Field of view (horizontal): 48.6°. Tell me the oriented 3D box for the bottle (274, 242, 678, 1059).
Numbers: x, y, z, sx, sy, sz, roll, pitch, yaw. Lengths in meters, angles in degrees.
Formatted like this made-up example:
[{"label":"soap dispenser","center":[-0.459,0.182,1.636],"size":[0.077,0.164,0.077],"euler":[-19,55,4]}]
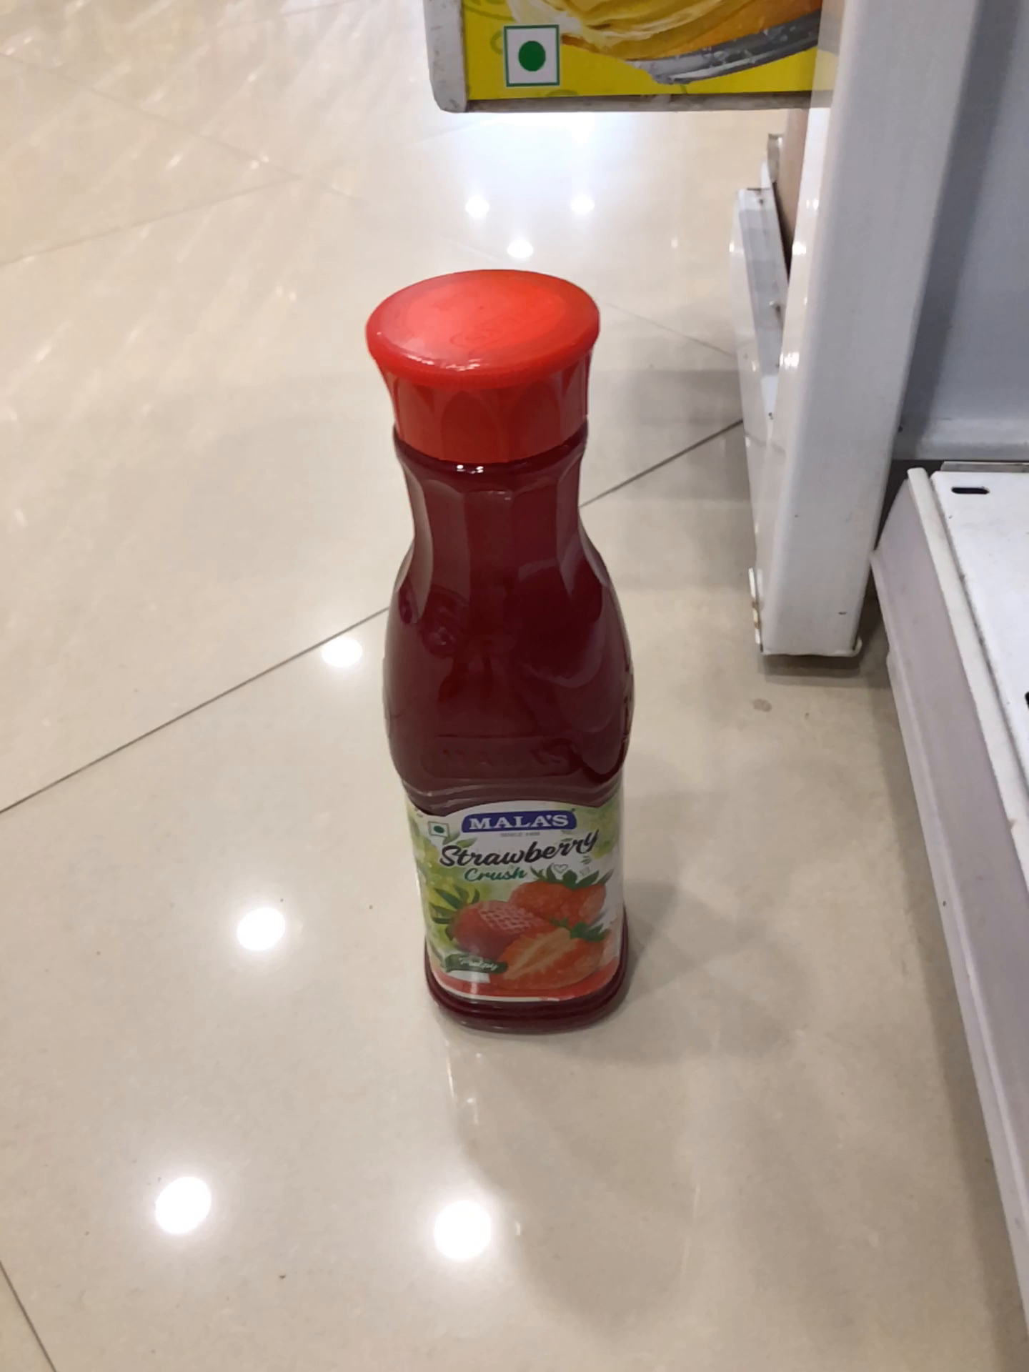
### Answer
[{"label":"bottle","center":[-0.002,0.010,0.334],"size":[0.080,0.248,0.070],"euler":[-2,41,2]}]
